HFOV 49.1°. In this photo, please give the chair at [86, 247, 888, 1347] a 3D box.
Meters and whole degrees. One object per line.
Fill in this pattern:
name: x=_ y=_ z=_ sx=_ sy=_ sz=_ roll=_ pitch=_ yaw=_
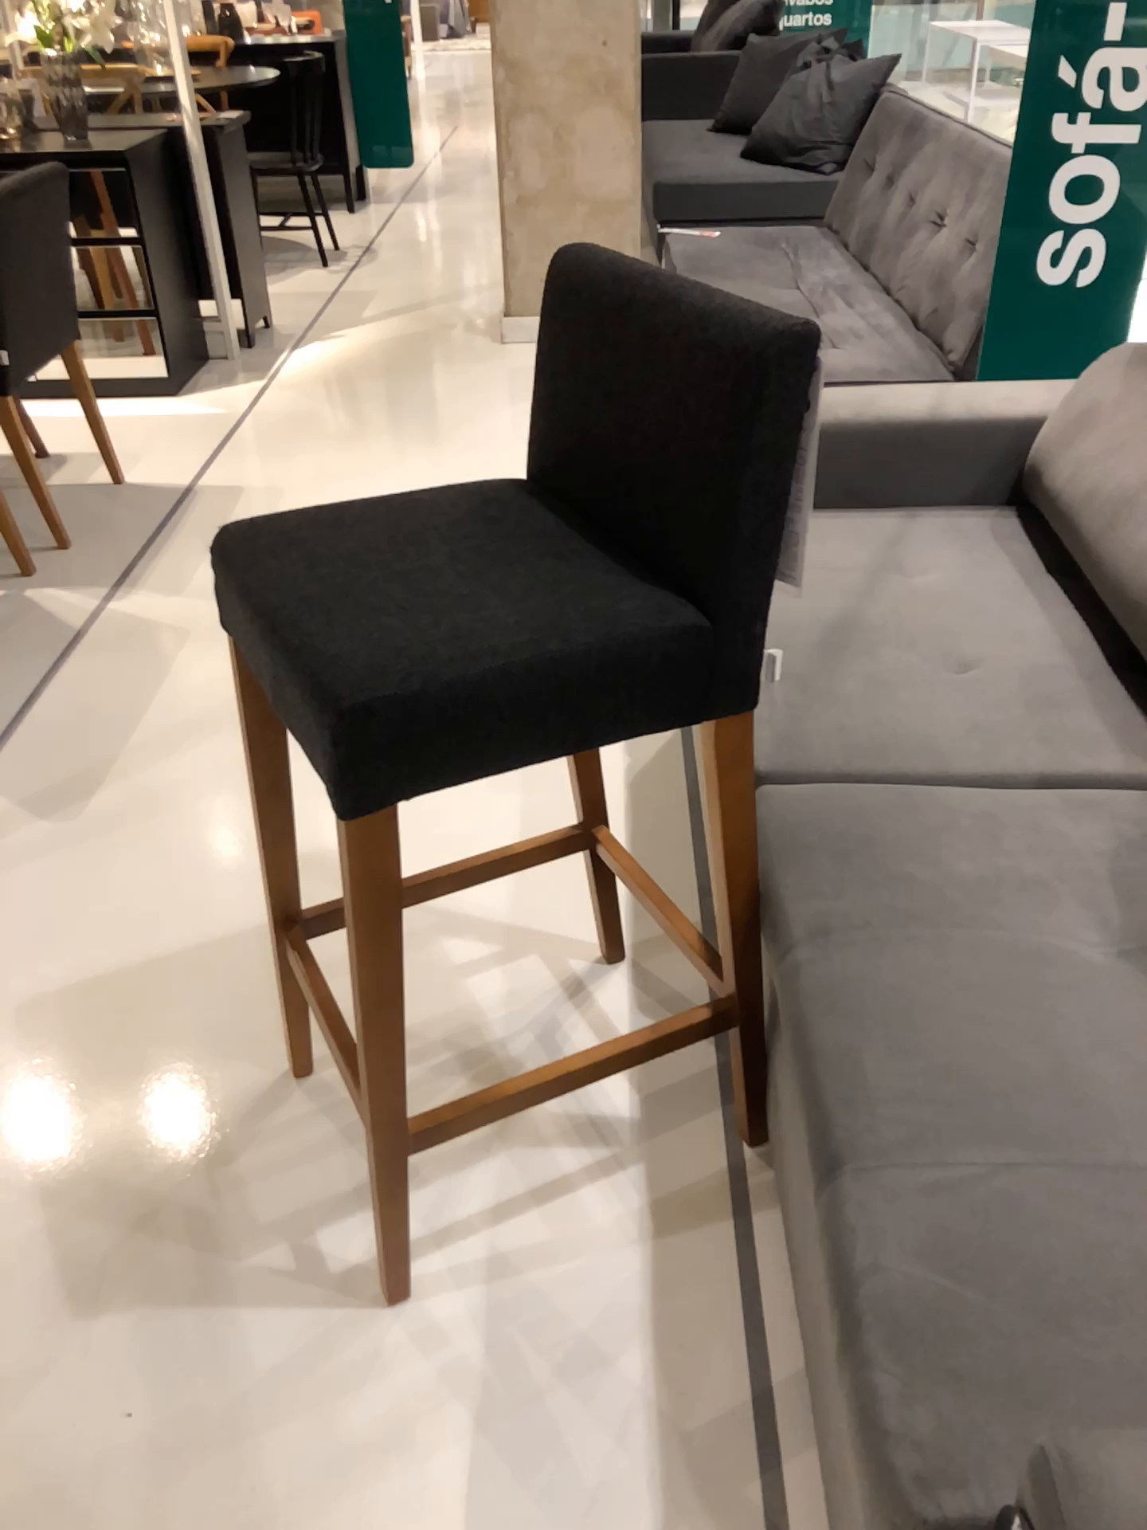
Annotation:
chair: x=-0.088 y=0.018 z=1.357 sx=0.581 sy=0.973 sz=0.453 roll=-15 pitch=33 yaw=-22
